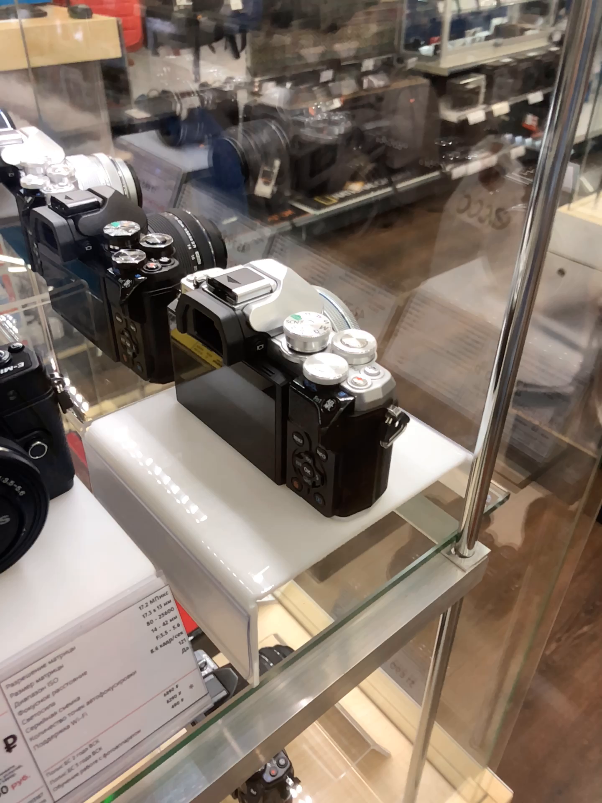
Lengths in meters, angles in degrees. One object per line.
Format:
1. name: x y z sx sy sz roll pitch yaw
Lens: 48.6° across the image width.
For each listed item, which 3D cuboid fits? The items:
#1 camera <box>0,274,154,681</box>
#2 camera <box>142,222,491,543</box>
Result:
1. camera: -0.122 0.016 0.229 0.109 0.068 0.078 -27 44 -32
2. camera: 0.001 -0.017 0.281 0.073 0.067 0.123 -28 45 -33
